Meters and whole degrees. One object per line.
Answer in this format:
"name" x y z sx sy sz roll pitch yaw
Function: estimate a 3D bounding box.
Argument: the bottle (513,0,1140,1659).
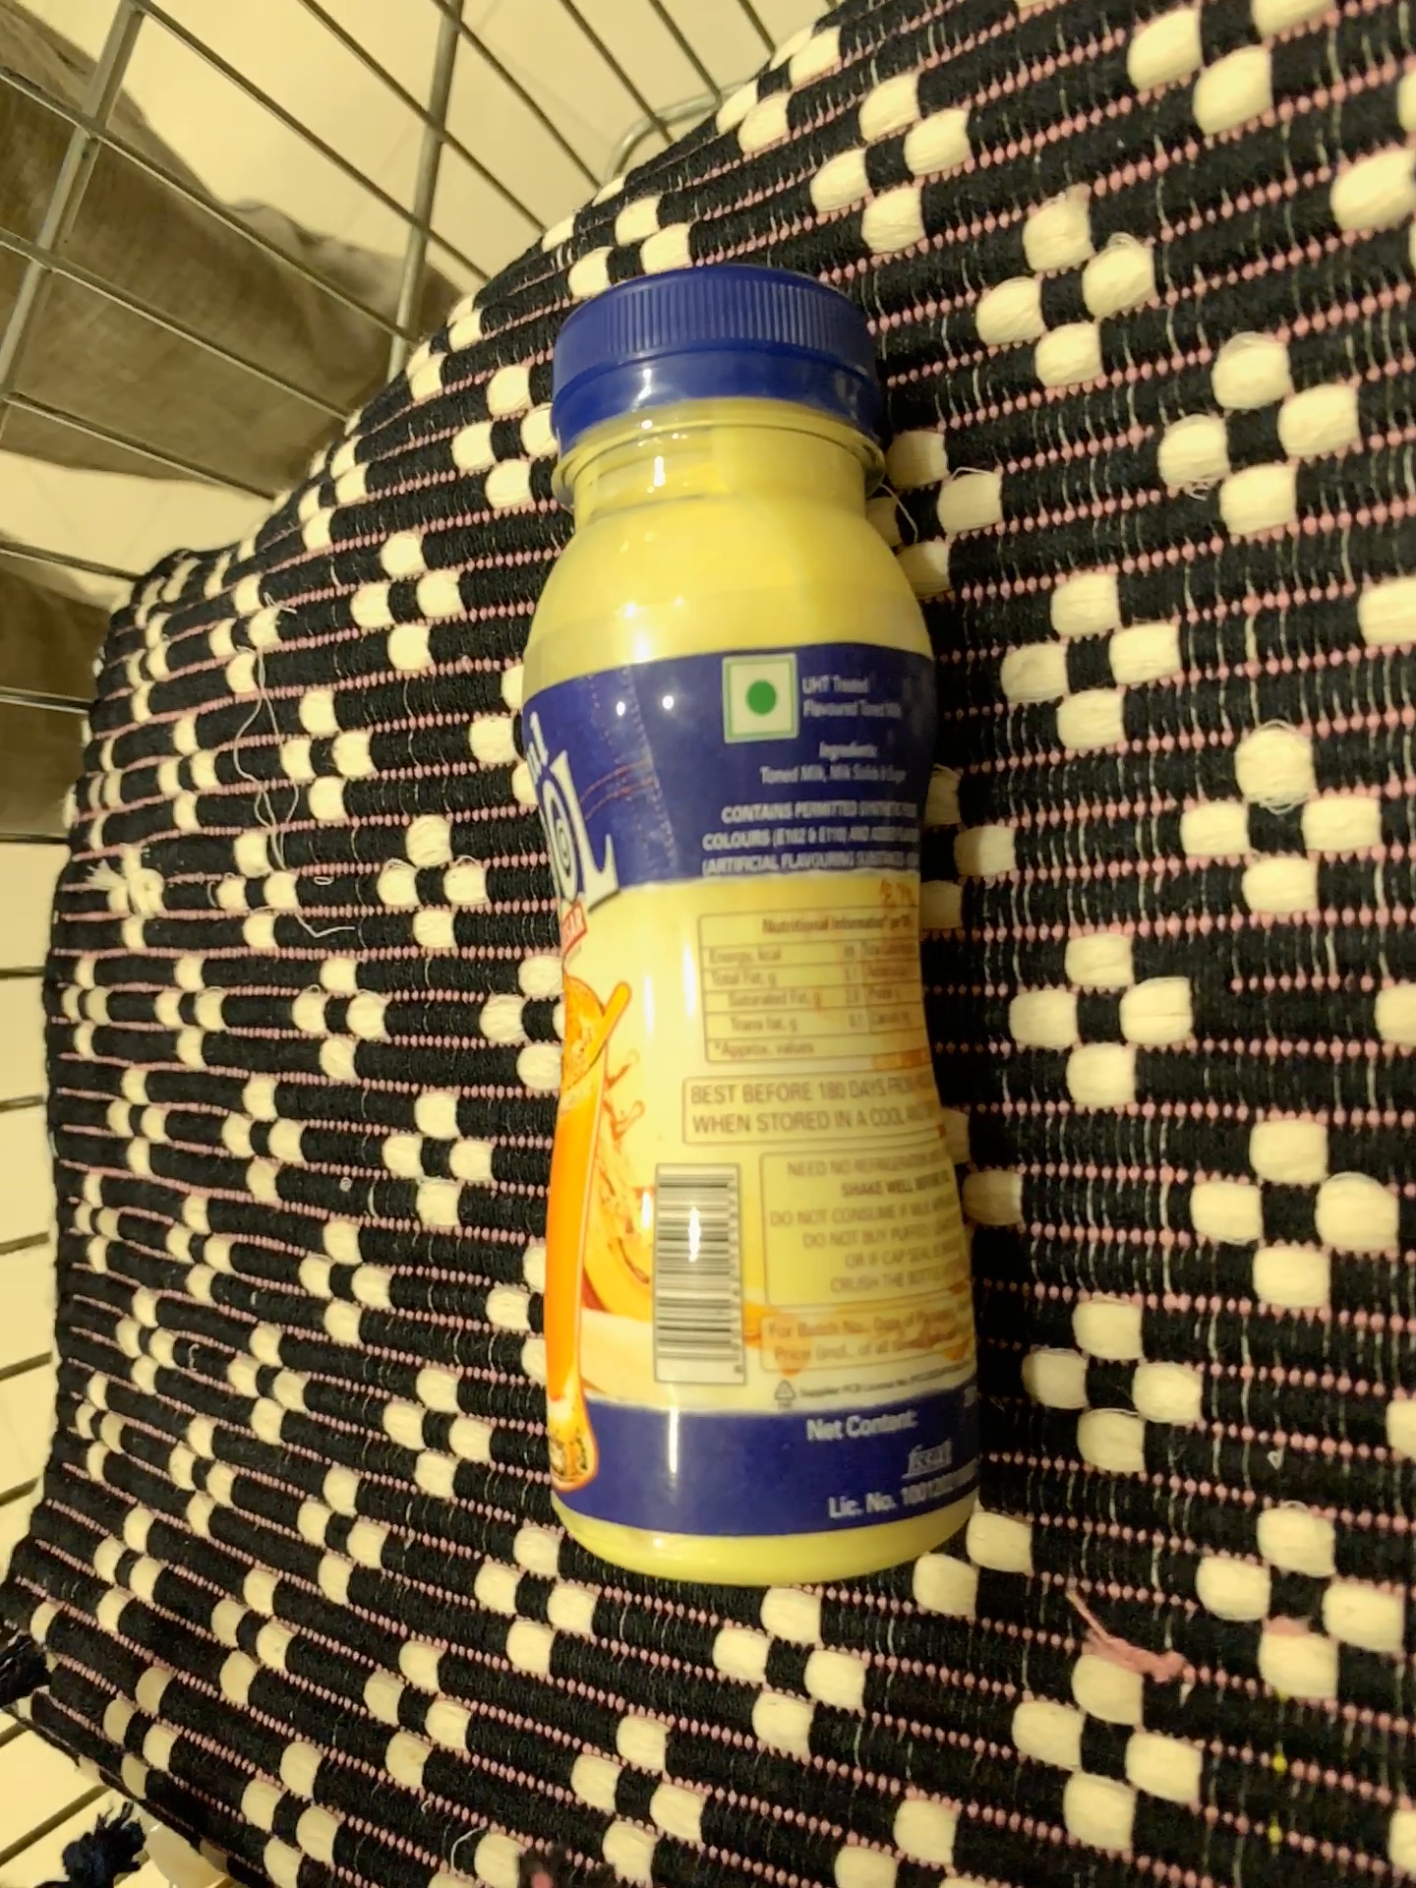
"bottle" 0.008 -0.012 0.174 0.060 0.060 0.160 1 86 -8
